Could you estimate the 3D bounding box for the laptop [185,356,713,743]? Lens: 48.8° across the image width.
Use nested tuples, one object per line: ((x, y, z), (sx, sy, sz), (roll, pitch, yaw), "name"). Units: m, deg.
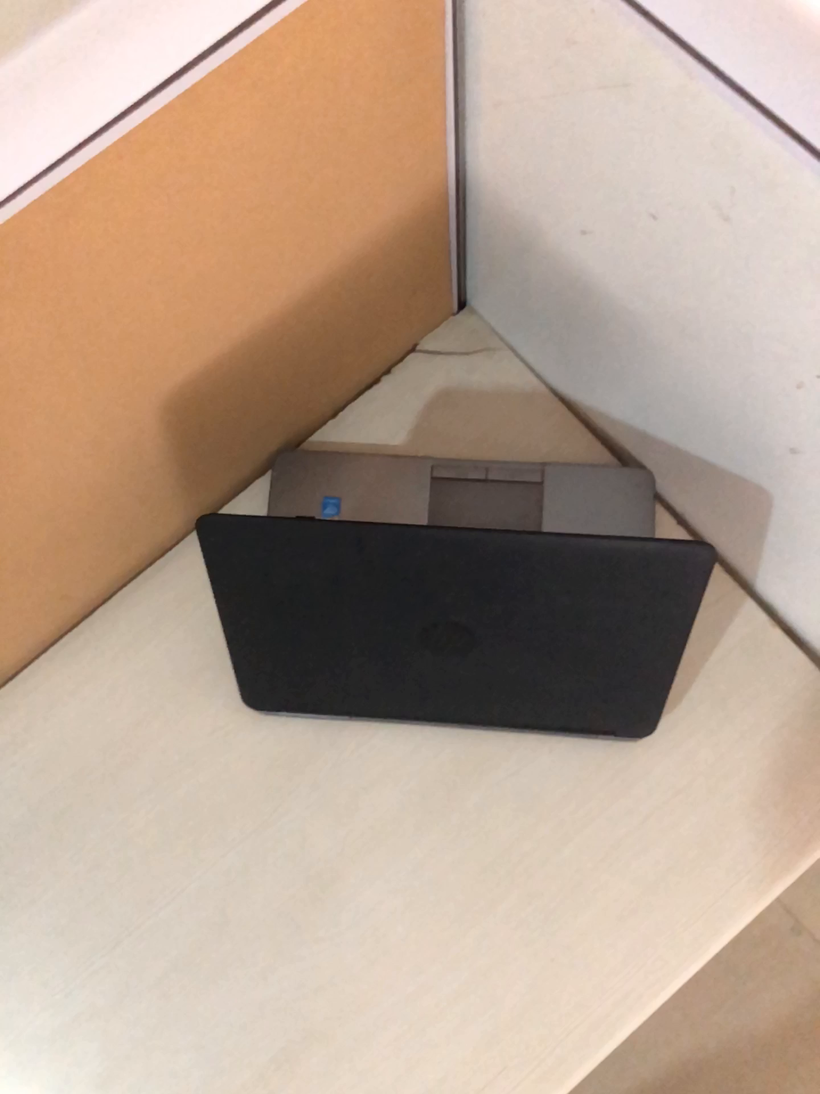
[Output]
((0.032, 0.014, 0.663), (0.318, 0.194, 0.227), (3, 77, 4), "laptop")
